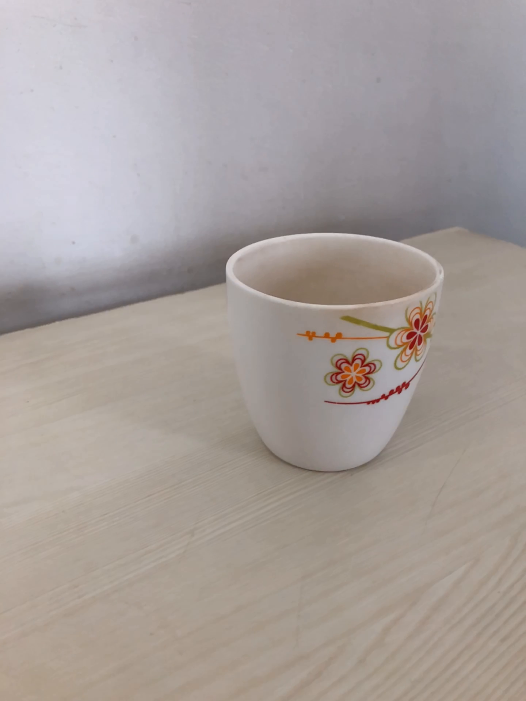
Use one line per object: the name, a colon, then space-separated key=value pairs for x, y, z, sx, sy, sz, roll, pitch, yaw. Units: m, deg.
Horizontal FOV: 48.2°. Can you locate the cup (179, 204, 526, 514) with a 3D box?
cup: x=0.035 y=-0.007 z=0.228 sx=0.111 sy=0.070 sz=0.070 roll=-21 pitch=34 yaw=-35
